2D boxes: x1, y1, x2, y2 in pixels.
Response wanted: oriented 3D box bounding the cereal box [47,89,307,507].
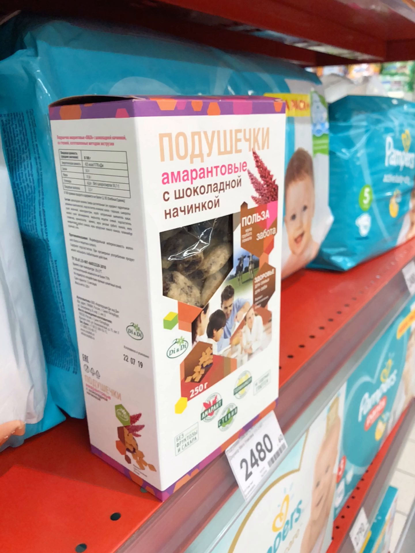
[{"bbox_3d":[-0.008,0.001,0.298,0.070,0.219,0.141,14,24,39],"label":"cereal box"}]
